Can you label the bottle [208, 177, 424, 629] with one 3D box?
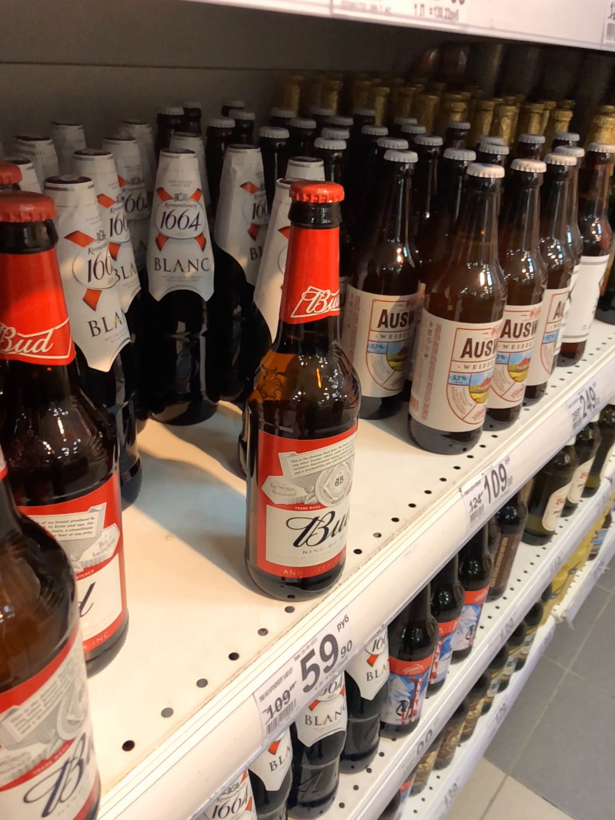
[{"bbox_3d":[-0.004,0.000,0.402,0.080,0.249,0.070,-21,38,-39],"label":"bottle"}]
